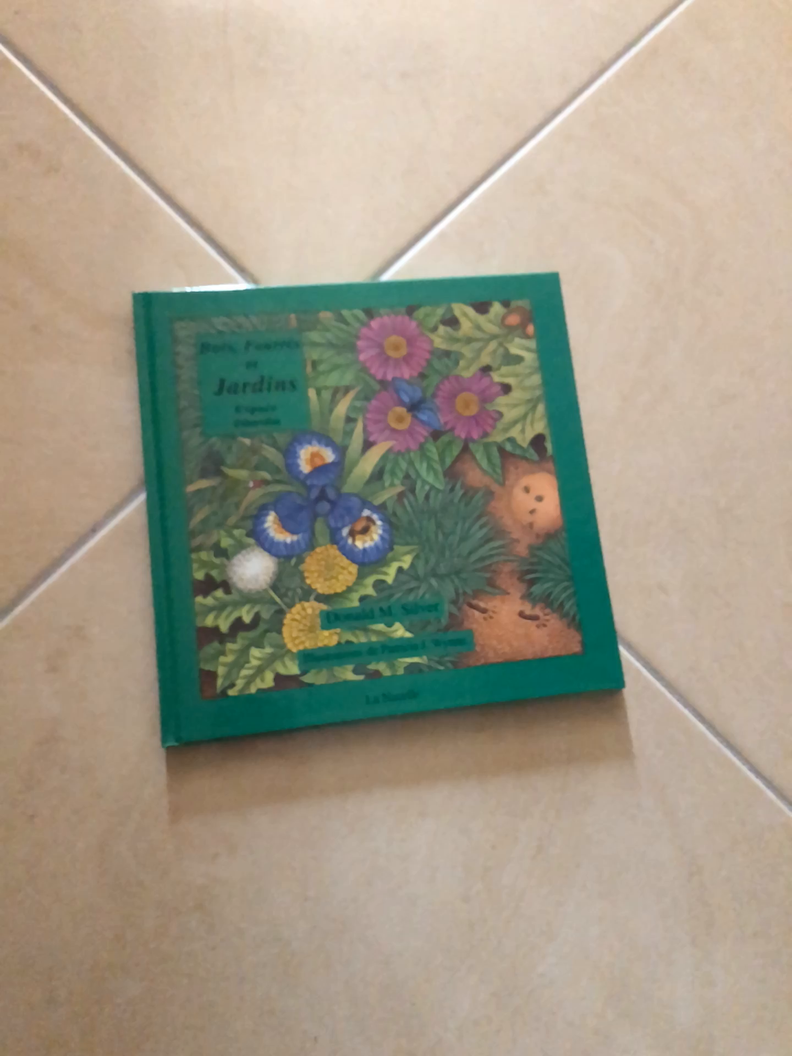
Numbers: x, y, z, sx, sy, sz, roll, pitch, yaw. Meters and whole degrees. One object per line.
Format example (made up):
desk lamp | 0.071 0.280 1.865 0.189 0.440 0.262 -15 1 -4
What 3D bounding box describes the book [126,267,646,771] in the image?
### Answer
book | -0.008 -0.013 0.462 0.240 0.030 0.240 -5 80 -9
